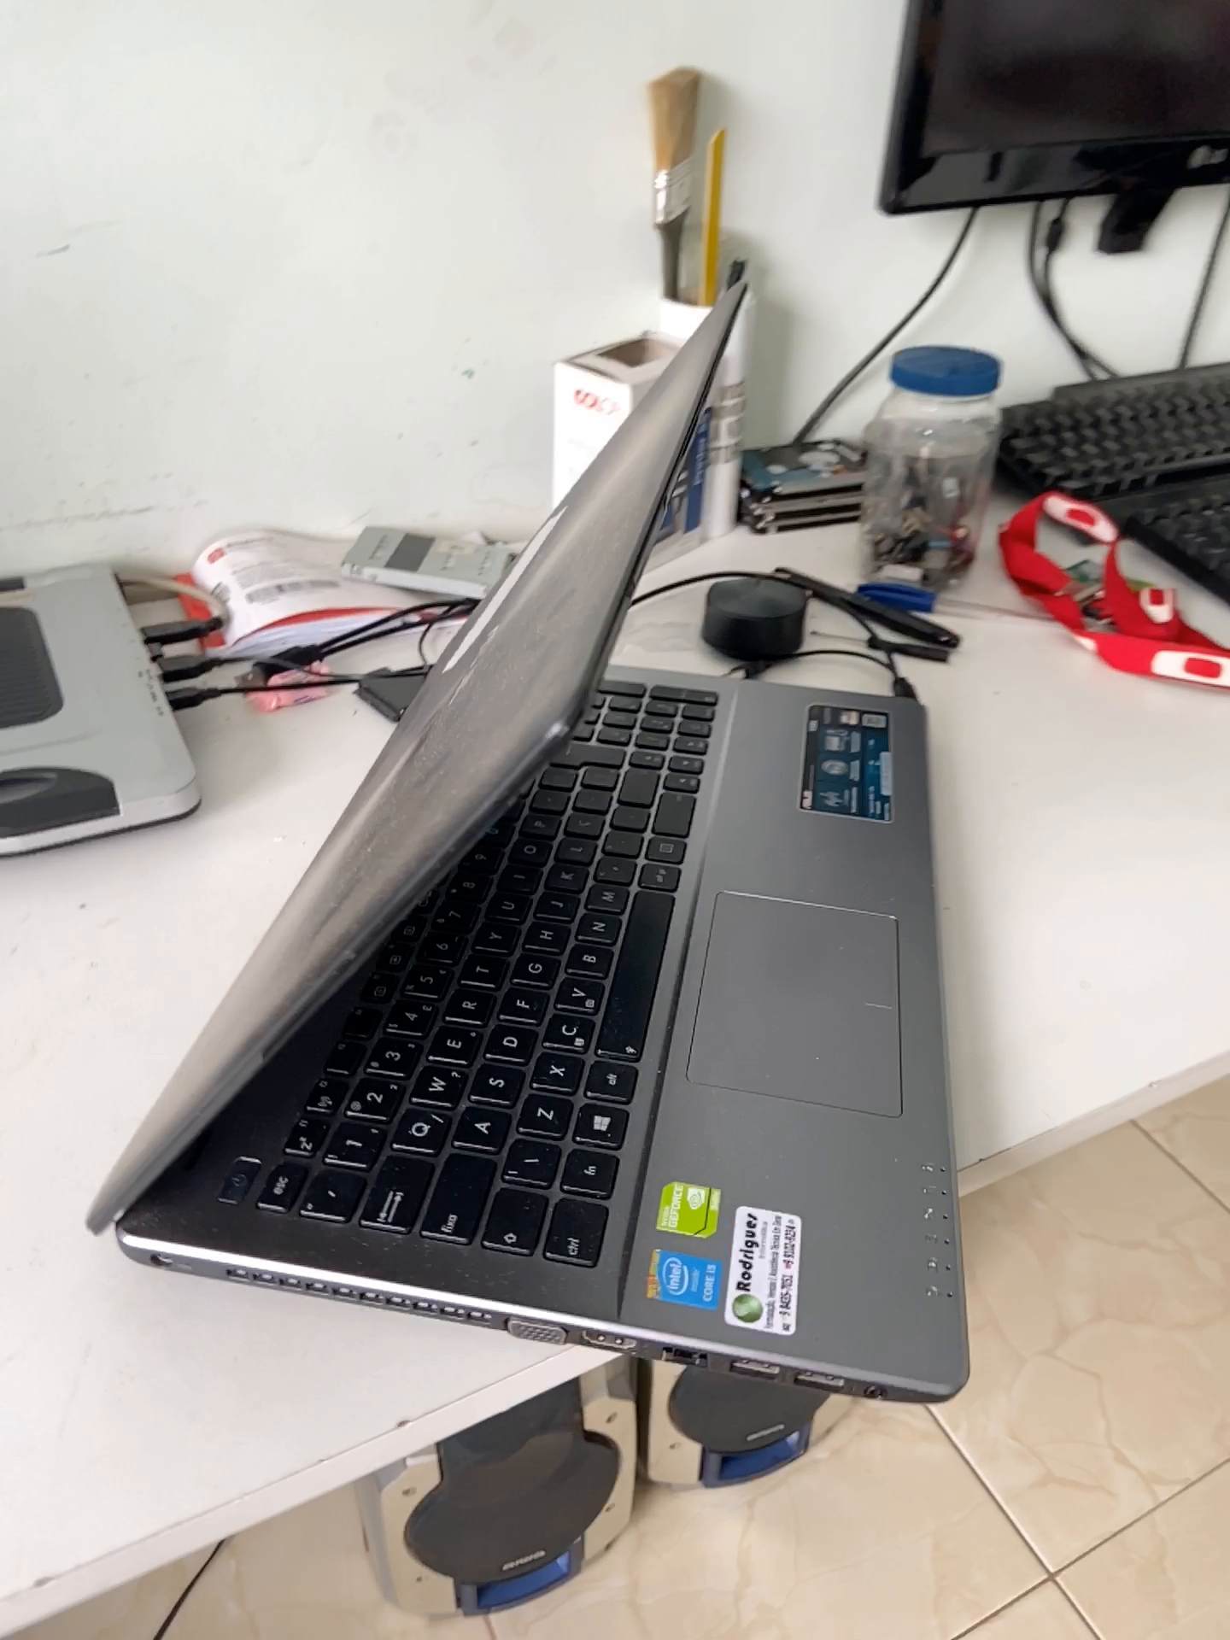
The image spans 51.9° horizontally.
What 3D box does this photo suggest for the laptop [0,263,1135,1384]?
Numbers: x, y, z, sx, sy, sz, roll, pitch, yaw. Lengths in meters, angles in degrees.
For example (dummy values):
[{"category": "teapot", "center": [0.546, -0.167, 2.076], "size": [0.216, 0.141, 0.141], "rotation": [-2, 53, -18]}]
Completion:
[{"category": "laptop", "center": [0.002, -0.047, 0.446], "size": [0.245, 0.190, 0.367], "rotation": [7, 36, 7]}]
